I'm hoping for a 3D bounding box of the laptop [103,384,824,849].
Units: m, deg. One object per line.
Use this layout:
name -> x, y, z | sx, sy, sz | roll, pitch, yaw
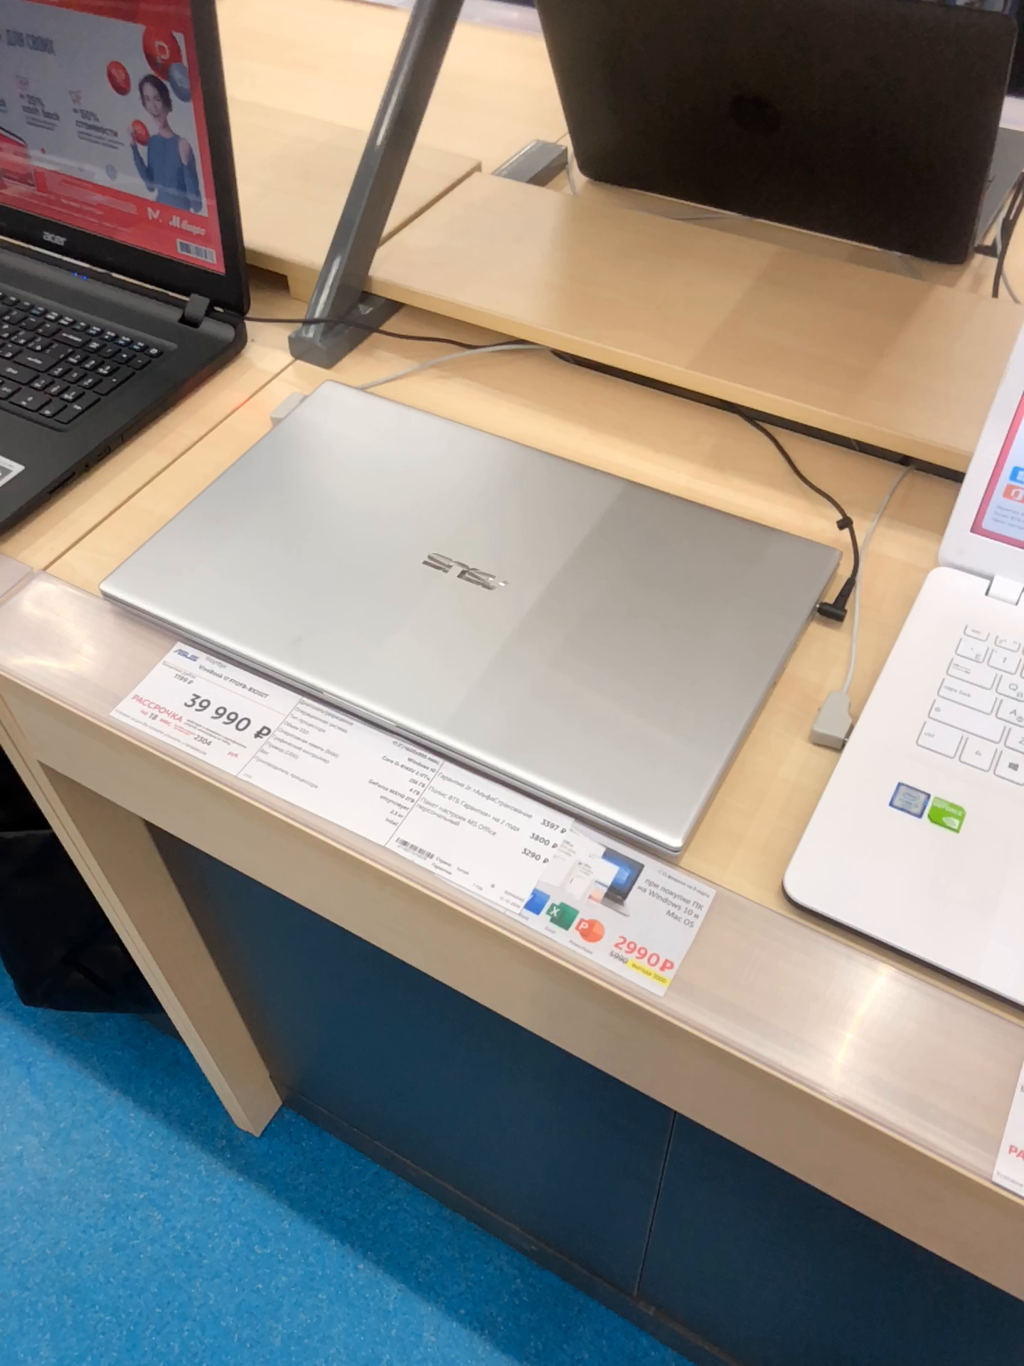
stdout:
laptop -> -0.032, -0.068, 0.707 | 0.392, 0.006, 0.233 | 23, 56, 20
